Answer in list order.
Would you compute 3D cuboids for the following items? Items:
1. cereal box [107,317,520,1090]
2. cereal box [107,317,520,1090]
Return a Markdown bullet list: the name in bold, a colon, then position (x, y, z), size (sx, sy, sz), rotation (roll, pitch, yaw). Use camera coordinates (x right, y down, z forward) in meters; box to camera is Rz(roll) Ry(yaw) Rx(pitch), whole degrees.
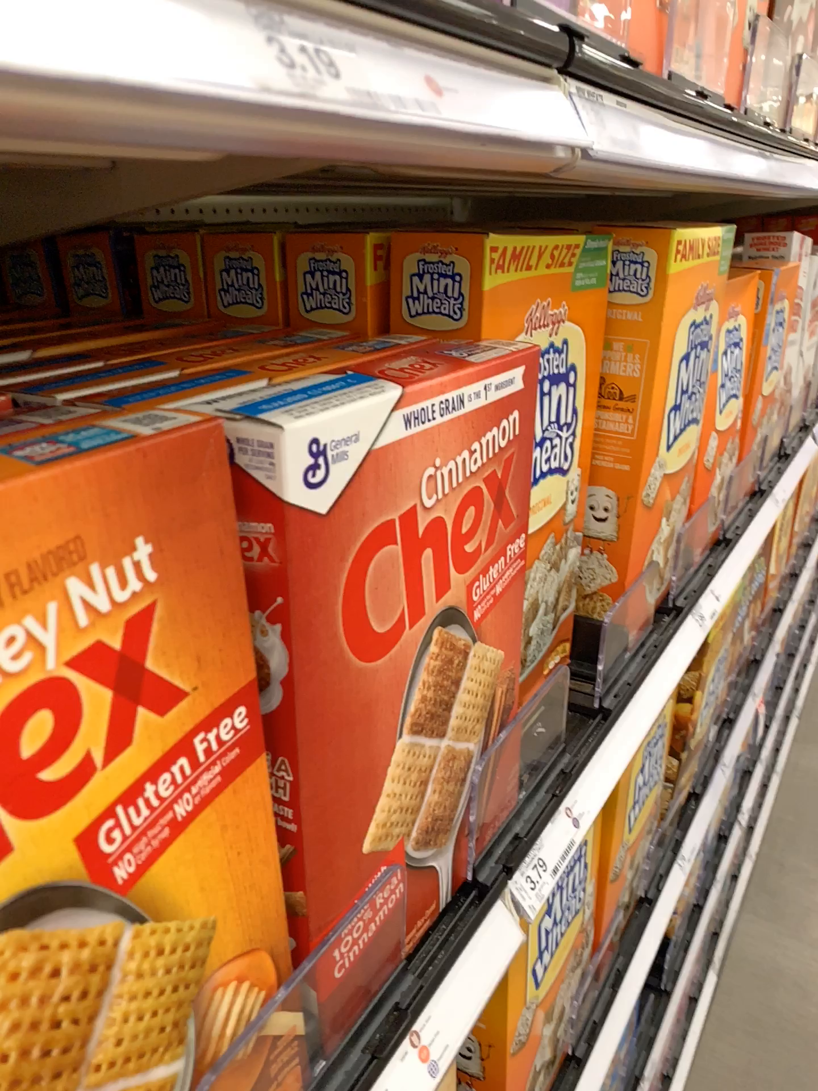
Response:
- **cereal box**: position (-0.022, 0.057, 0.399), size (0.060, 0.299, 0.201), rotation (12, 24, 29)
- **cereal box**: position (-0.022, 0.057, 0.399), size (0.060, 0.299, 0.201), rotation (12, 24, 29)
